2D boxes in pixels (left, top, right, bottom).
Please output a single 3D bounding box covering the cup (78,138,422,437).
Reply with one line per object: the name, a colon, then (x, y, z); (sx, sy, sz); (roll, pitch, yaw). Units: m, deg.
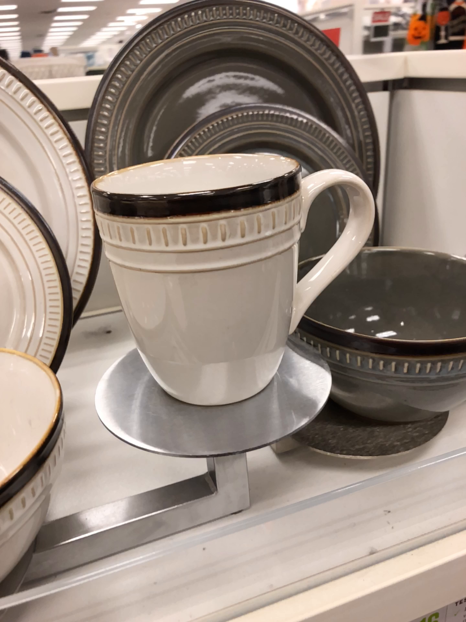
cup: (0.006, -0.023, 0.256); (0.128, 0.097, 0.092); (-15, 27, -21)
